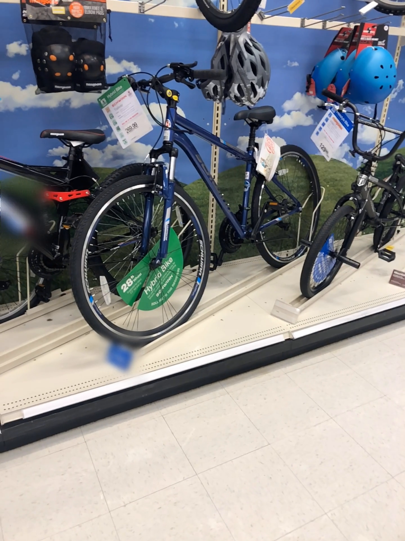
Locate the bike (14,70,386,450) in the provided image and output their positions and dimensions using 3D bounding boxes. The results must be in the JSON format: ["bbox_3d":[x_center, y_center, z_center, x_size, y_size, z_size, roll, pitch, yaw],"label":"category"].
[{"bbox_3d":[0.150,-0.271,2.035,0.531,1.098,1.742,22,34,35],"label":"bike"}]
